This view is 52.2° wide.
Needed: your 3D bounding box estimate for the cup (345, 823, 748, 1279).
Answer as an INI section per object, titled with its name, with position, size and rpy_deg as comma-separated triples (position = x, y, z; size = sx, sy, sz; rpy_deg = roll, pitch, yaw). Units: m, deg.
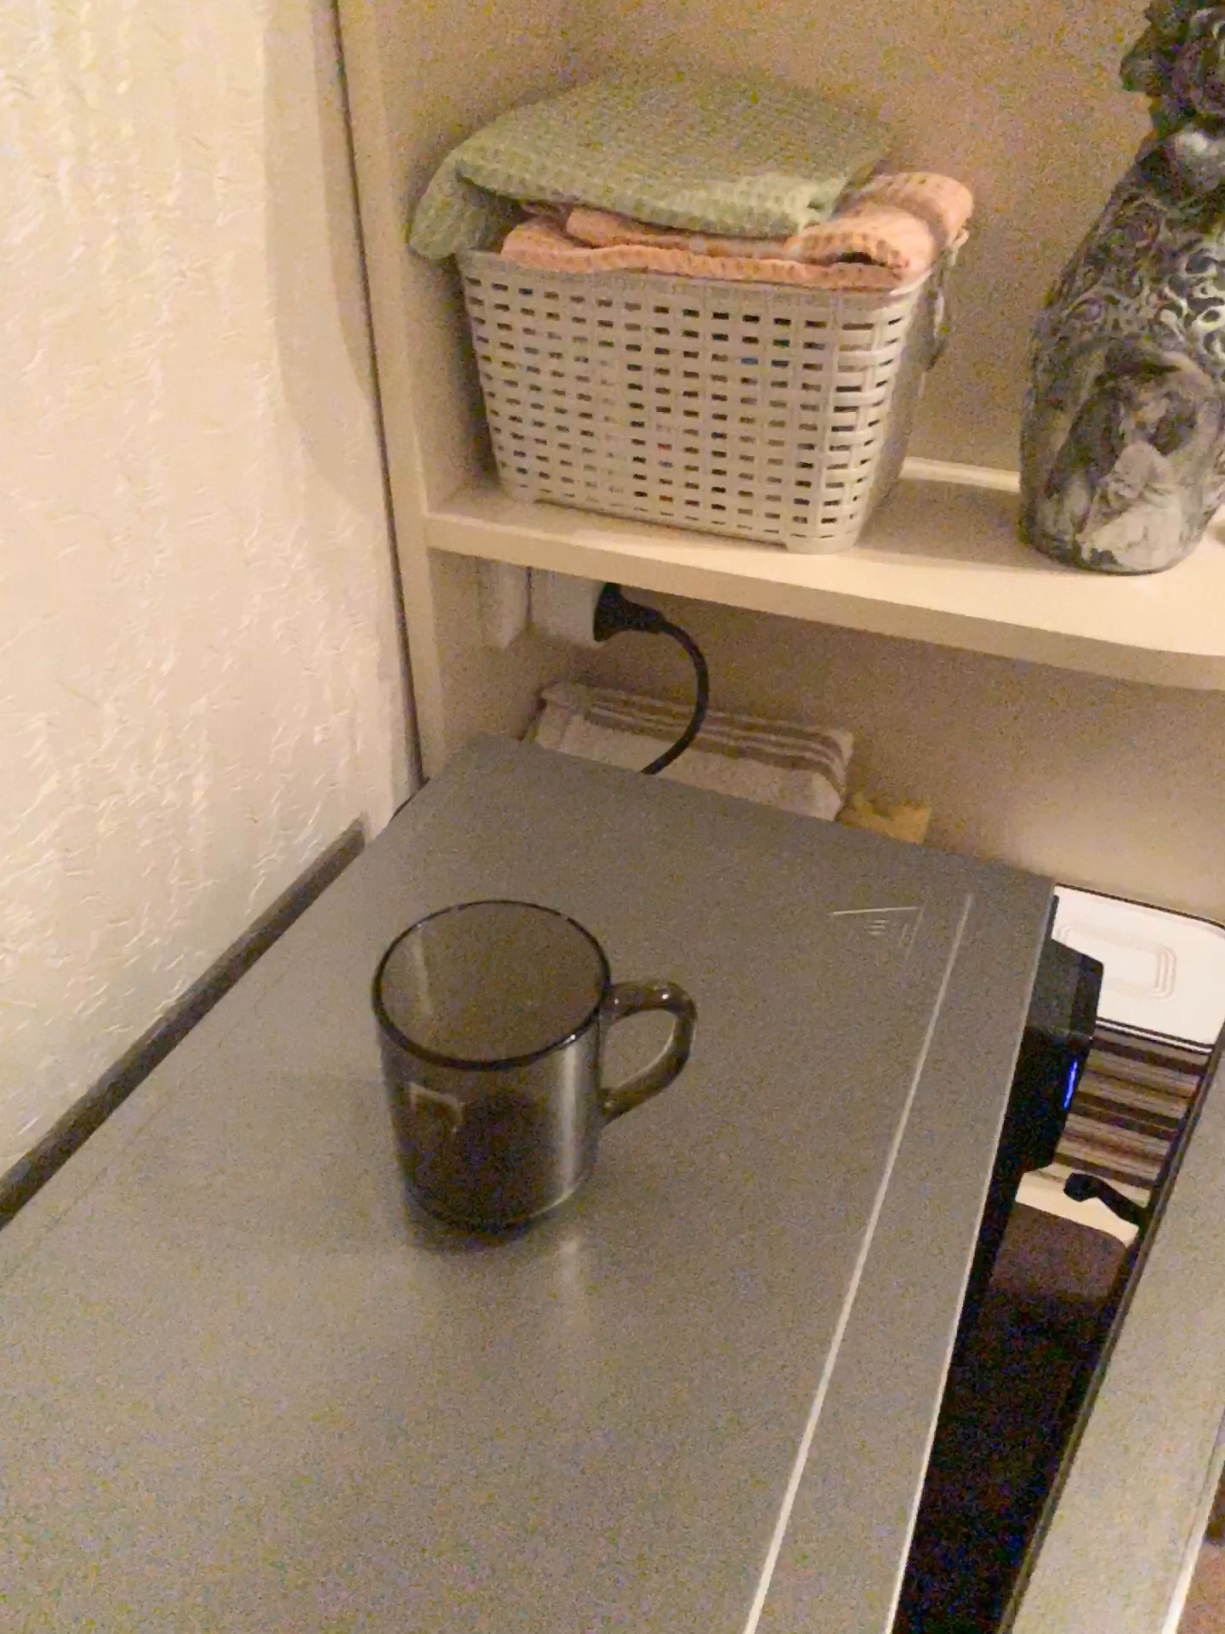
[cup]
position = -0.022, 0.074, 0.413
size = 0.102, 0.094, 0.078
rpy_deg = -16, 39, -21
